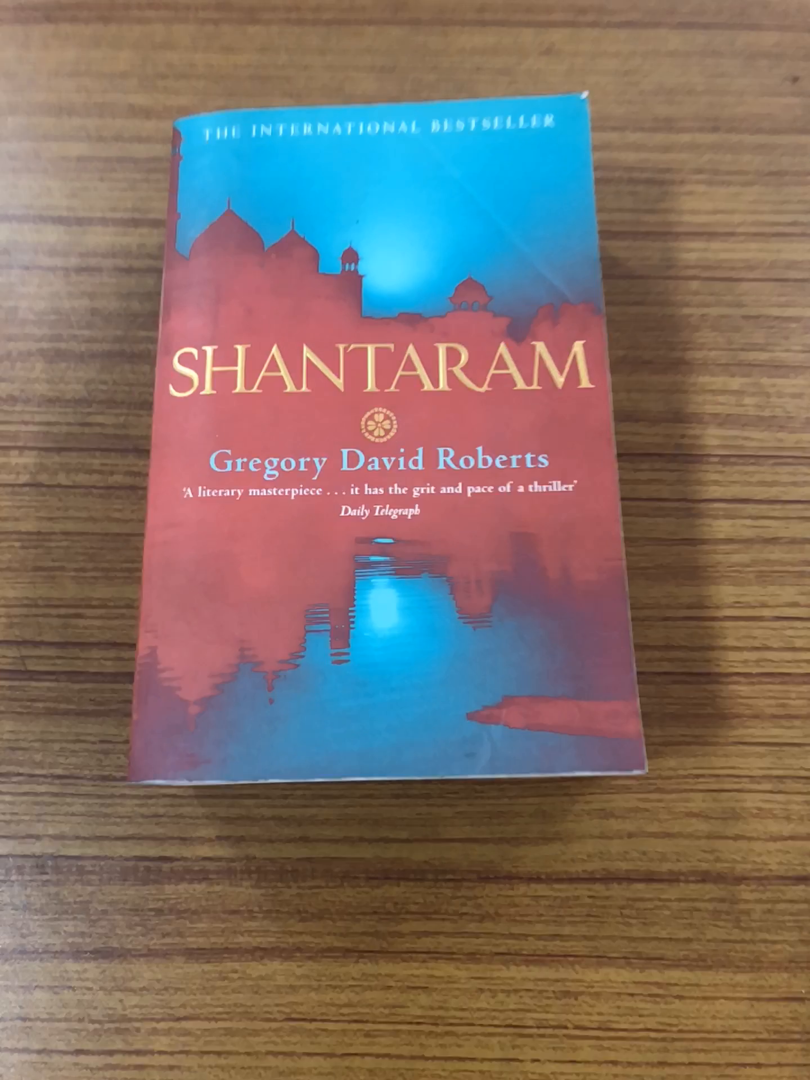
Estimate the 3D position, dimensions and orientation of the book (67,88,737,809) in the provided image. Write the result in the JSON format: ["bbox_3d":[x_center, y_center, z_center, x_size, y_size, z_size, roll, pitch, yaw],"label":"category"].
[{"bbox_3d":[-0.004,-0.027,0.253,0.150,0.050,0.190,-2,74,0],"label":"book"}]
